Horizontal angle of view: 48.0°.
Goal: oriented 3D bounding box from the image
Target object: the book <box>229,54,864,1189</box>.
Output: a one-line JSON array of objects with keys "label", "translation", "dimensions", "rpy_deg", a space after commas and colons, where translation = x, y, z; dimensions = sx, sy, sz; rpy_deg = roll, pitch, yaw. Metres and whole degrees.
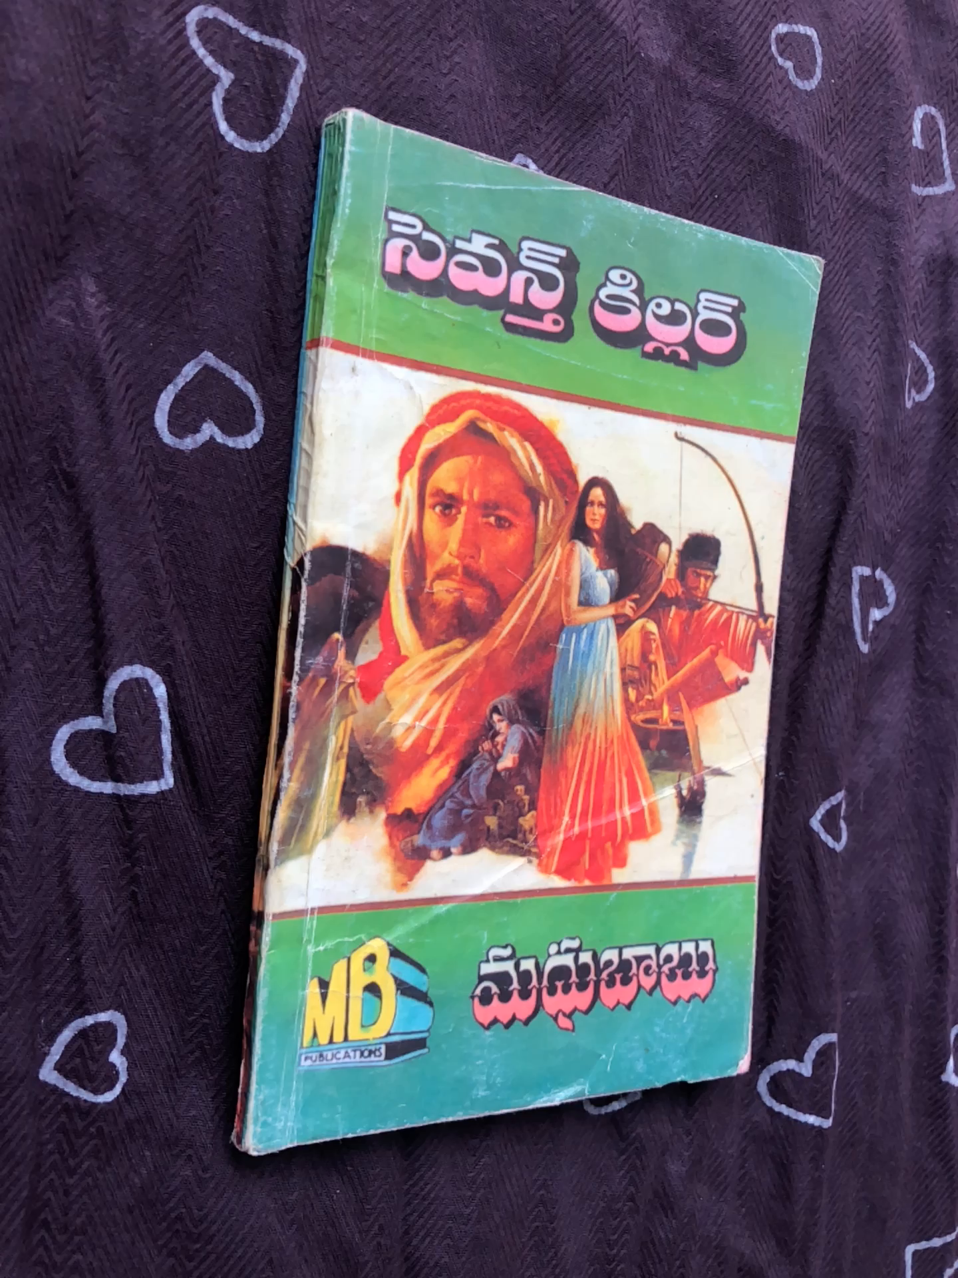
[{"label": "book", "translation": [0.017, 0.001, 0.171], "dimensions": [0.100, 0.010, 0.150], "rpy_deg": [5, 90, -30]}]
